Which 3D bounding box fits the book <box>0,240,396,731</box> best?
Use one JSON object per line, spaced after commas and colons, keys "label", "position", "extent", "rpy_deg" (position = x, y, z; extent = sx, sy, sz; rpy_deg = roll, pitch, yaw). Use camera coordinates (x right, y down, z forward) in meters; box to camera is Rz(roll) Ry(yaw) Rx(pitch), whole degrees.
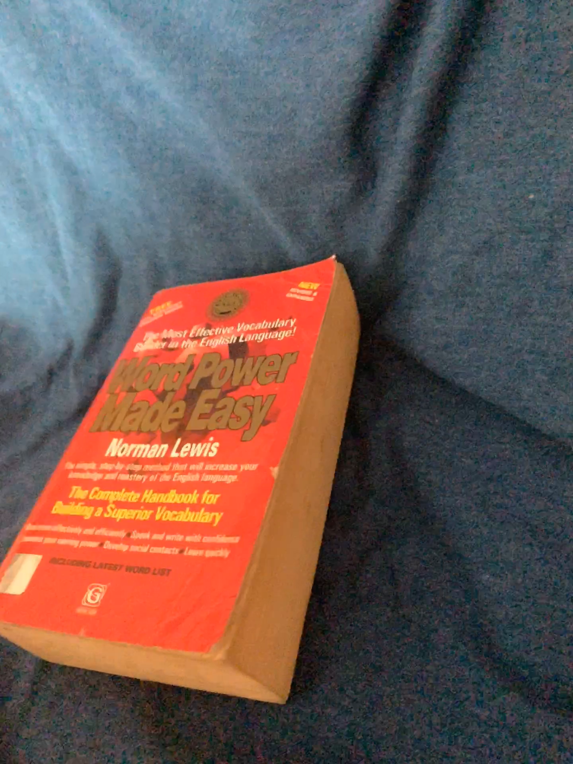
{"label": "book", "position": [-0.030, 0.027, 0.259], "extent": [0.120, 0.050, 0.191], "rpy_deg": [-3, 49, 25]}
